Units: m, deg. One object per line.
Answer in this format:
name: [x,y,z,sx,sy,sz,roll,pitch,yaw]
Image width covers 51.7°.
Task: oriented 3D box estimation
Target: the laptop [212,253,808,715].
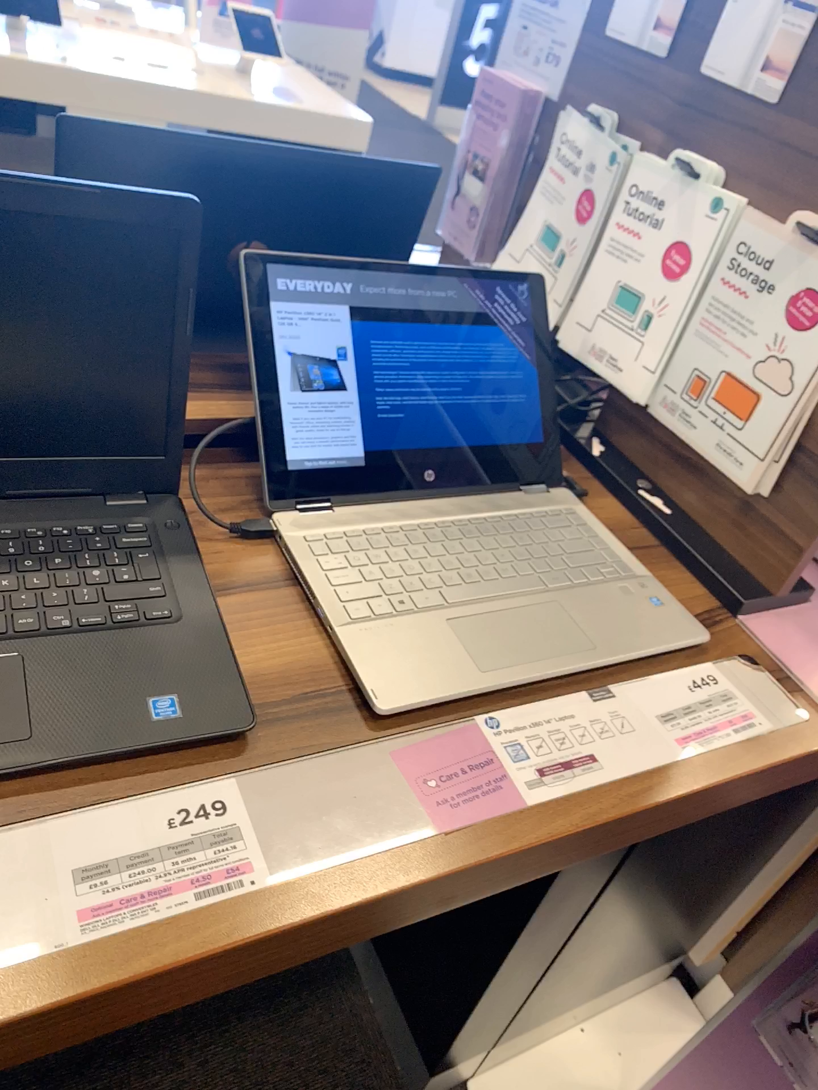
laptop: [0.054,-0.080,0.695,0.313,0.154,0.362,-7,43,-30]
